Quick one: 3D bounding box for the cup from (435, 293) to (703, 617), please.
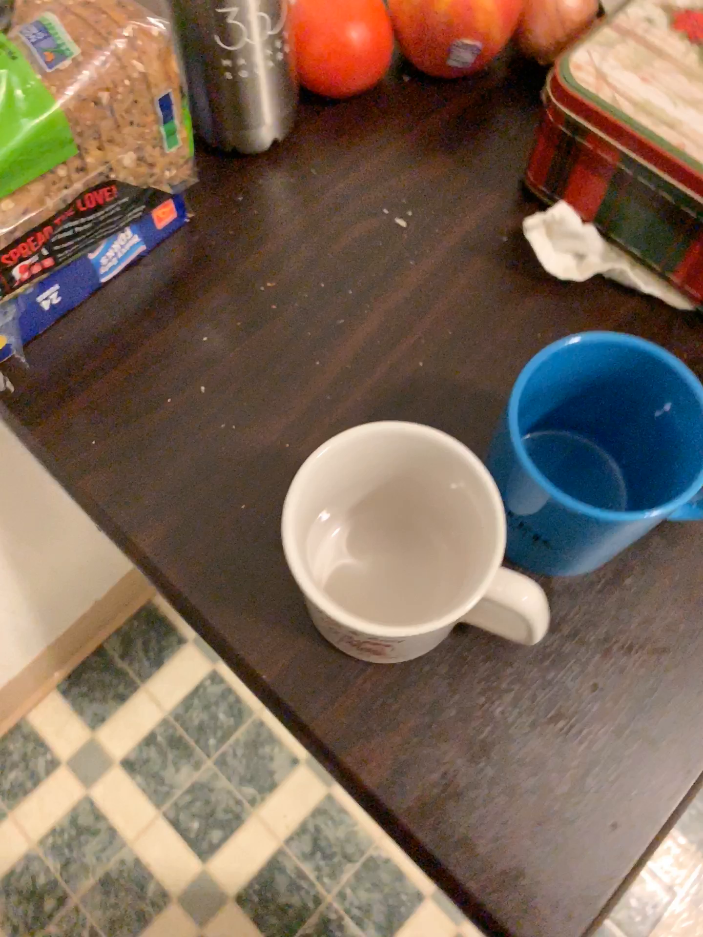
[{"bbox_3d":[0.119,-0.001,0.327,0.140,0.100,0.090,11,69,4],"label":"cup"}]

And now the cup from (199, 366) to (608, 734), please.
[{"bbox_3d":[0.020,0.038,0.302,0.120,0.090,0.090,24,70,9],"label":"cup"}]
